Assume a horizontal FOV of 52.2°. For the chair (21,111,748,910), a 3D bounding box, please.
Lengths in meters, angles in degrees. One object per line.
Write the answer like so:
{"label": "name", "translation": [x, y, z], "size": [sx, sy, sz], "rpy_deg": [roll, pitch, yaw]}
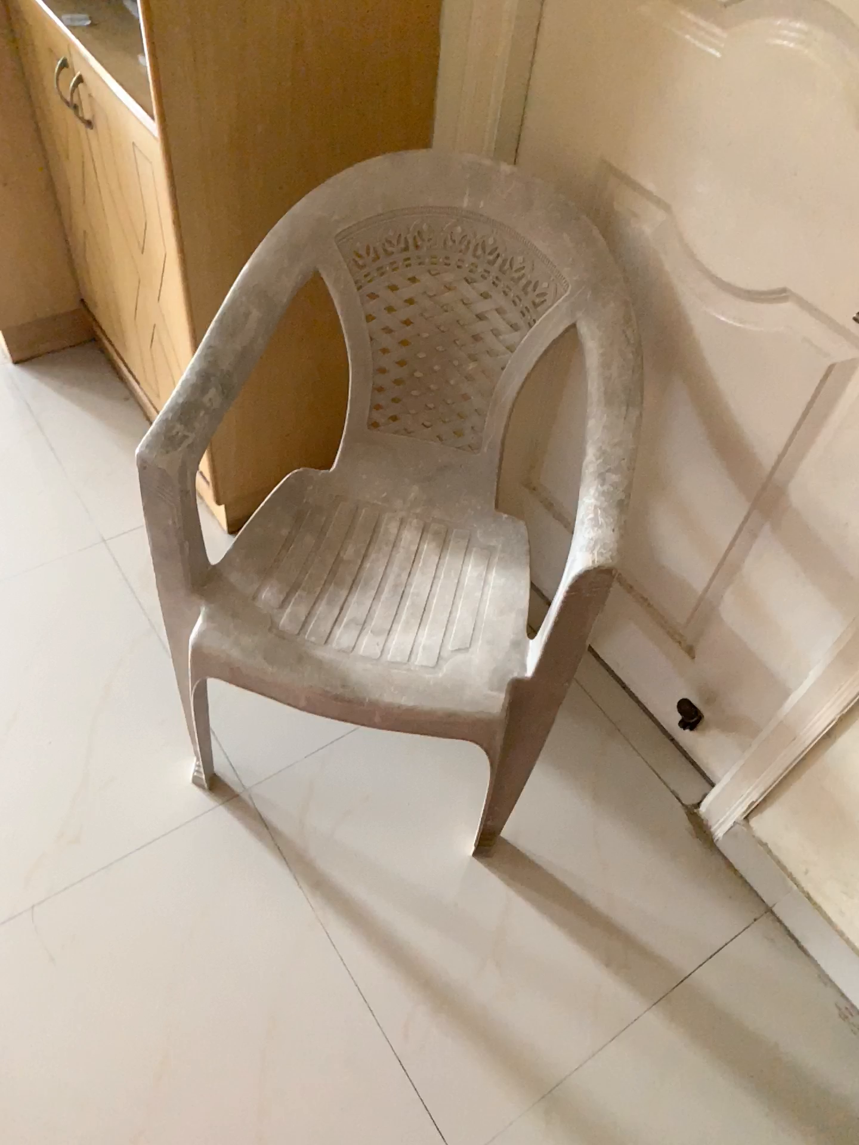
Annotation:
{"label": "chair", "translation": [-0.008, -0.067, 1.224], "size": [0.610, 0.725, 0.675], "rpy_deg": [15, 51, 5]}
